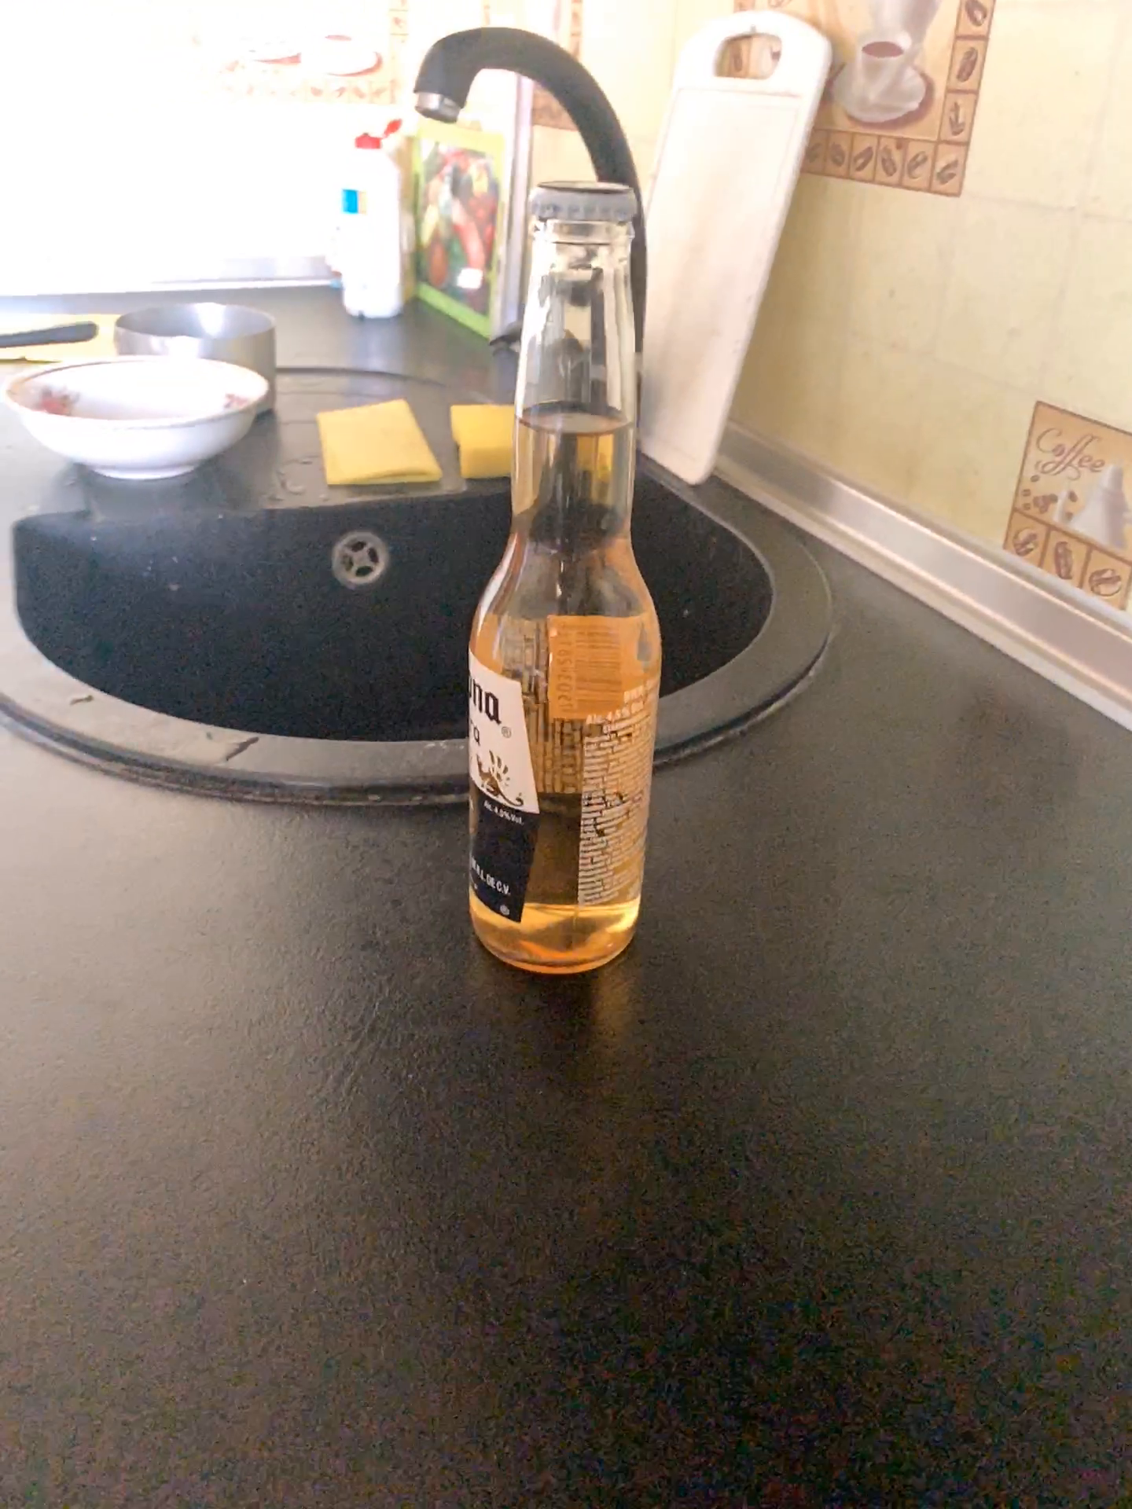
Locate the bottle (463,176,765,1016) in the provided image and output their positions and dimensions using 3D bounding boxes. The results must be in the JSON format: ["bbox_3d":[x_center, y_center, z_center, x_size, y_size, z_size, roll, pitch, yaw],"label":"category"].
[{"bbox_3d":[0.006,-0.037,0.362,0.070,0.249,0.070,2,30,-1],"label":"bottle"}]
